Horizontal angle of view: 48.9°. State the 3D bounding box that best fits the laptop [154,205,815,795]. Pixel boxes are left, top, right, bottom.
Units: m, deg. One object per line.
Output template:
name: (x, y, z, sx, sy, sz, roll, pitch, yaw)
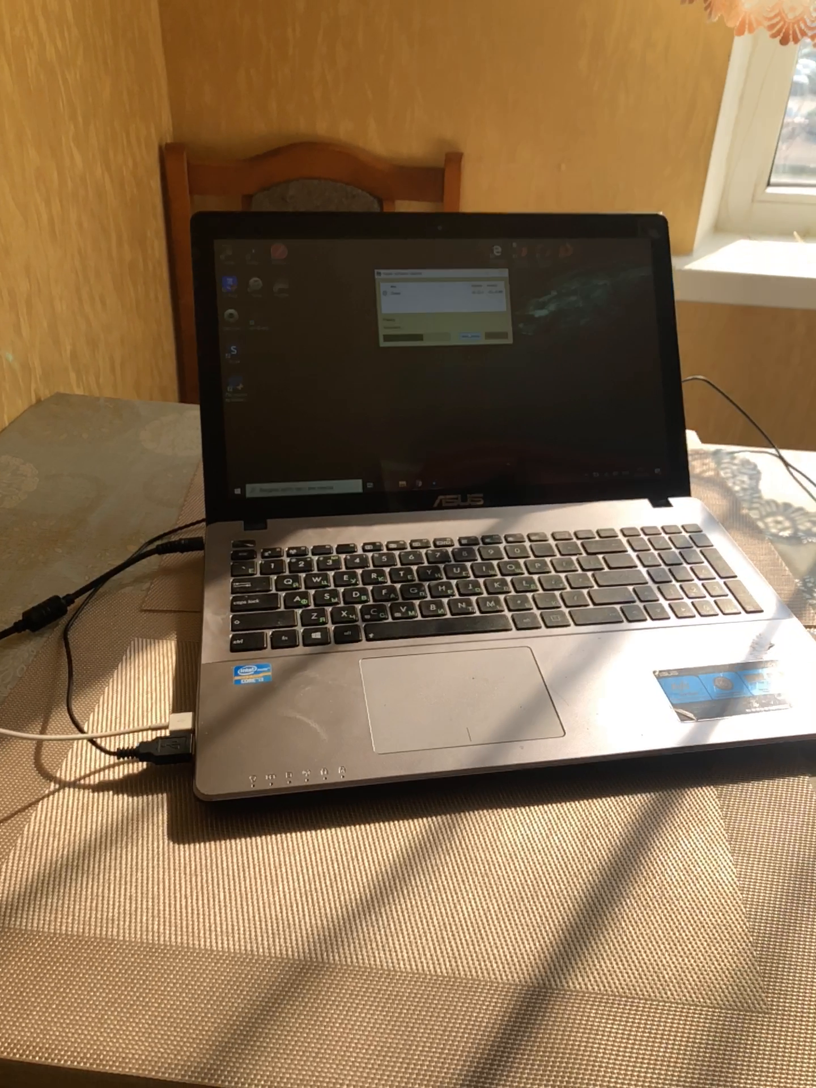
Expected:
laptop: (0.052, -0.075, 0.592, 0.378, 0.183, 0.399, -3, 34, -9)
